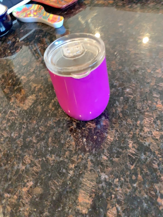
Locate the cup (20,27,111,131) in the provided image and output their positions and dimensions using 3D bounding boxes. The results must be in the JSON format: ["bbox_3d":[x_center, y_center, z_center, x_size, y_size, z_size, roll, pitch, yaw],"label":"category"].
[{"bbox_3d":[-0.008,-0.039,0.242,0.090,0.110,0.090,-5,52,6],"label":"cup"}]
